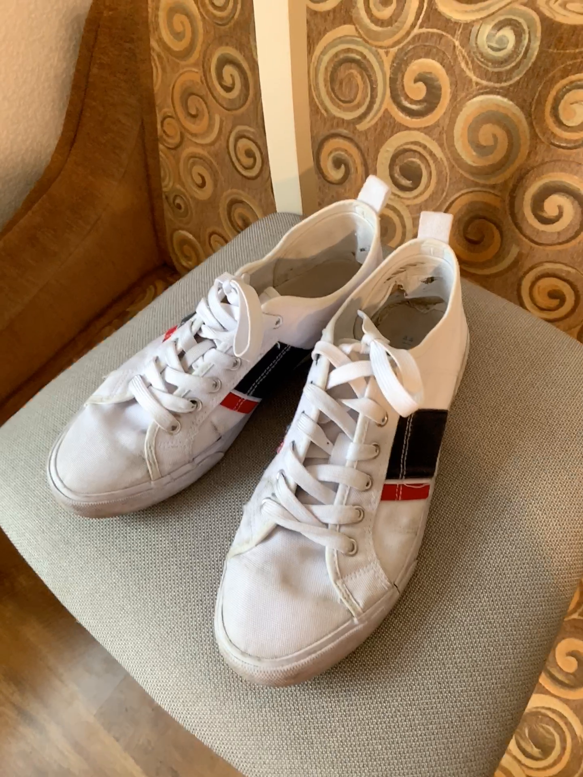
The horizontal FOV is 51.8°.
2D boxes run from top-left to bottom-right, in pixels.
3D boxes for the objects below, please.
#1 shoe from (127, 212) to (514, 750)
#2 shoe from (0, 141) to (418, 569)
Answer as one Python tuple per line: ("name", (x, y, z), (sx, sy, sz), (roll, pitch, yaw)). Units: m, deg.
("shoe", (0.033, 0.039, 0.353), (0.110, 0.090, 0.270), (17, 68, 18))
("shoe", (-0.059, -0.028, 0.409), (0.280, 0.090, 0.120), (-40, 64, -11))
